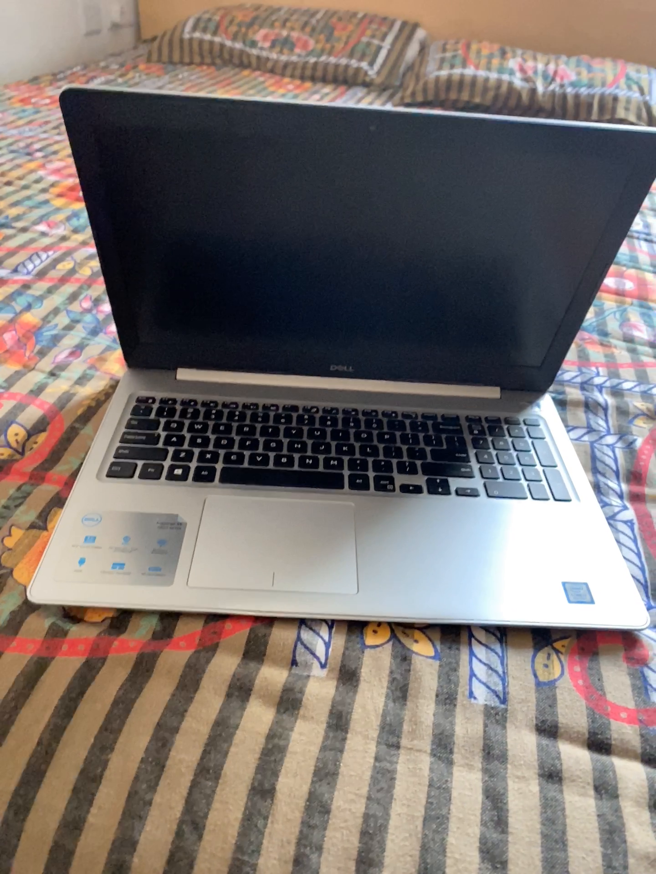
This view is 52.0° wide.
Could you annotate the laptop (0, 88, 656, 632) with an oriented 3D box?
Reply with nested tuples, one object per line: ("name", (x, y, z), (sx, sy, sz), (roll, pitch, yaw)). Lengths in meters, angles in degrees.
("laptop", (0.016, -0.051, 0.418), (0.373, 0.231, 0.211), (4, 39, -2))
